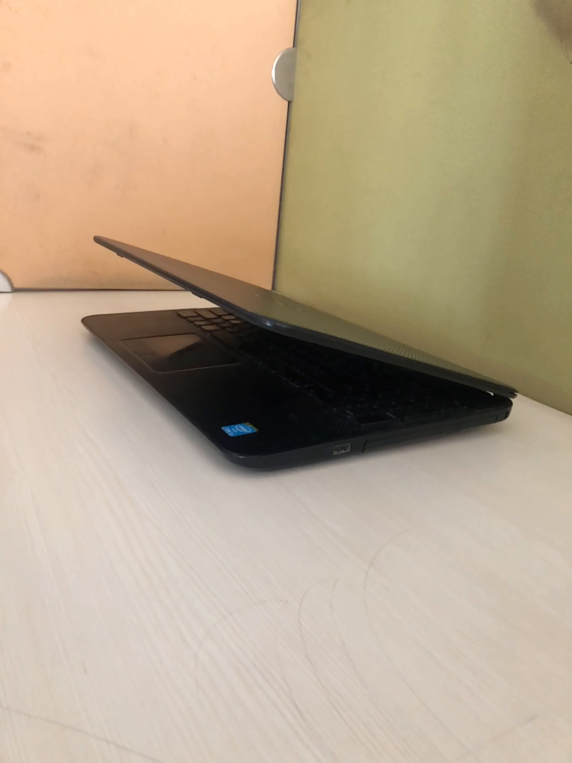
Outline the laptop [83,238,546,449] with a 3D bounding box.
[{"bbox_3d":[-0.008,-0.062,0.562,0.247,0.078,0.354,-6,21,-31],"label":"laptop"}]
